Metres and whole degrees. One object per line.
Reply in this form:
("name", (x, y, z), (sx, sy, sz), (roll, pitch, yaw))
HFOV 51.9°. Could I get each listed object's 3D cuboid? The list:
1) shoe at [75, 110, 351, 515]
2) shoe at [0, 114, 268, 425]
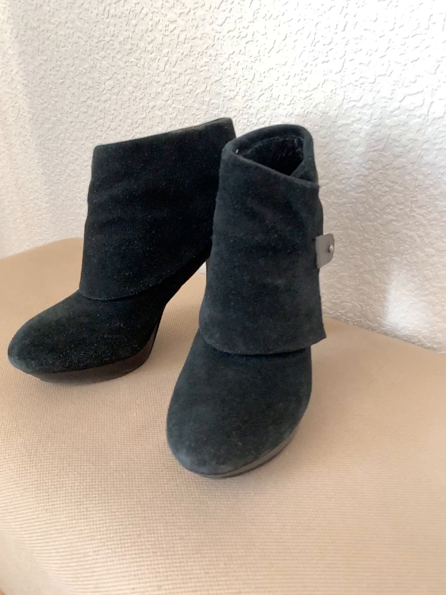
("shoe", (0.020, -0.018, 0.300), (0.090, 0.166, 0.218), (8, 31, 16))
("shoe", (-0.079, -0.038, 0.356), (0.218, 0.166, 0.090), (-21, 35, -30))
